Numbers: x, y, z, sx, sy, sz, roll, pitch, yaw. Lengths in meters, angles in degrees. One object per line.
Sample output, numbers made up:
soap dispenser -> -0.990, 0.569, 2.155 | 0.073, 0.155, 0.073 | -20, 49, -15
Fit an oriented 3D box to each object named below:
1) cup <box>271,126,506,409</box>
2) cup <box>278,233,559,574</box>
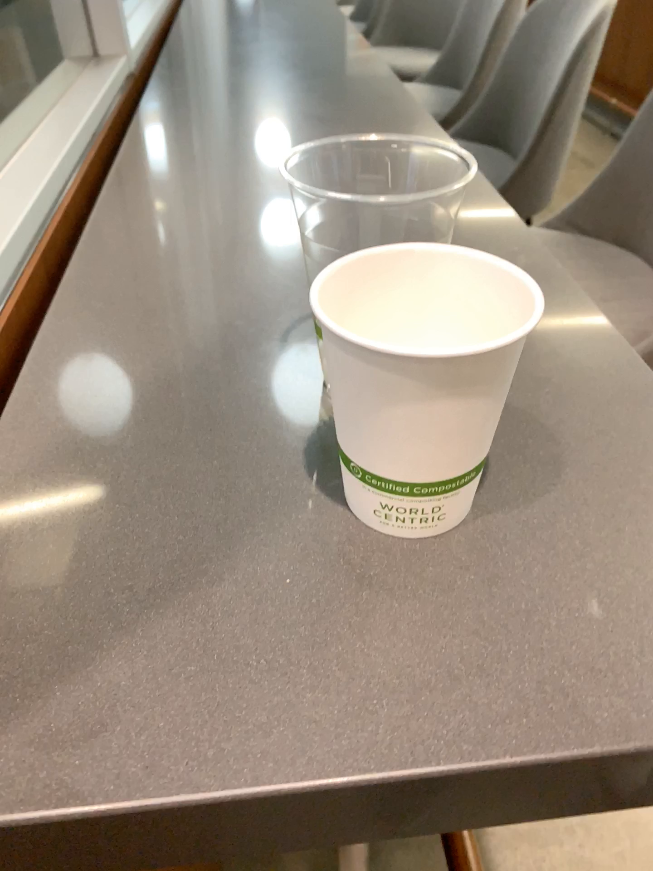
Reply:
cup -> 0.031, -0.088, 0.357 | 0.100, 0.119, 0.080 | 2, 39, 6
cup -> 0.035, -0.015, 0.288 | 0.090, 0.109, 0.091 | -1, 39, 1
